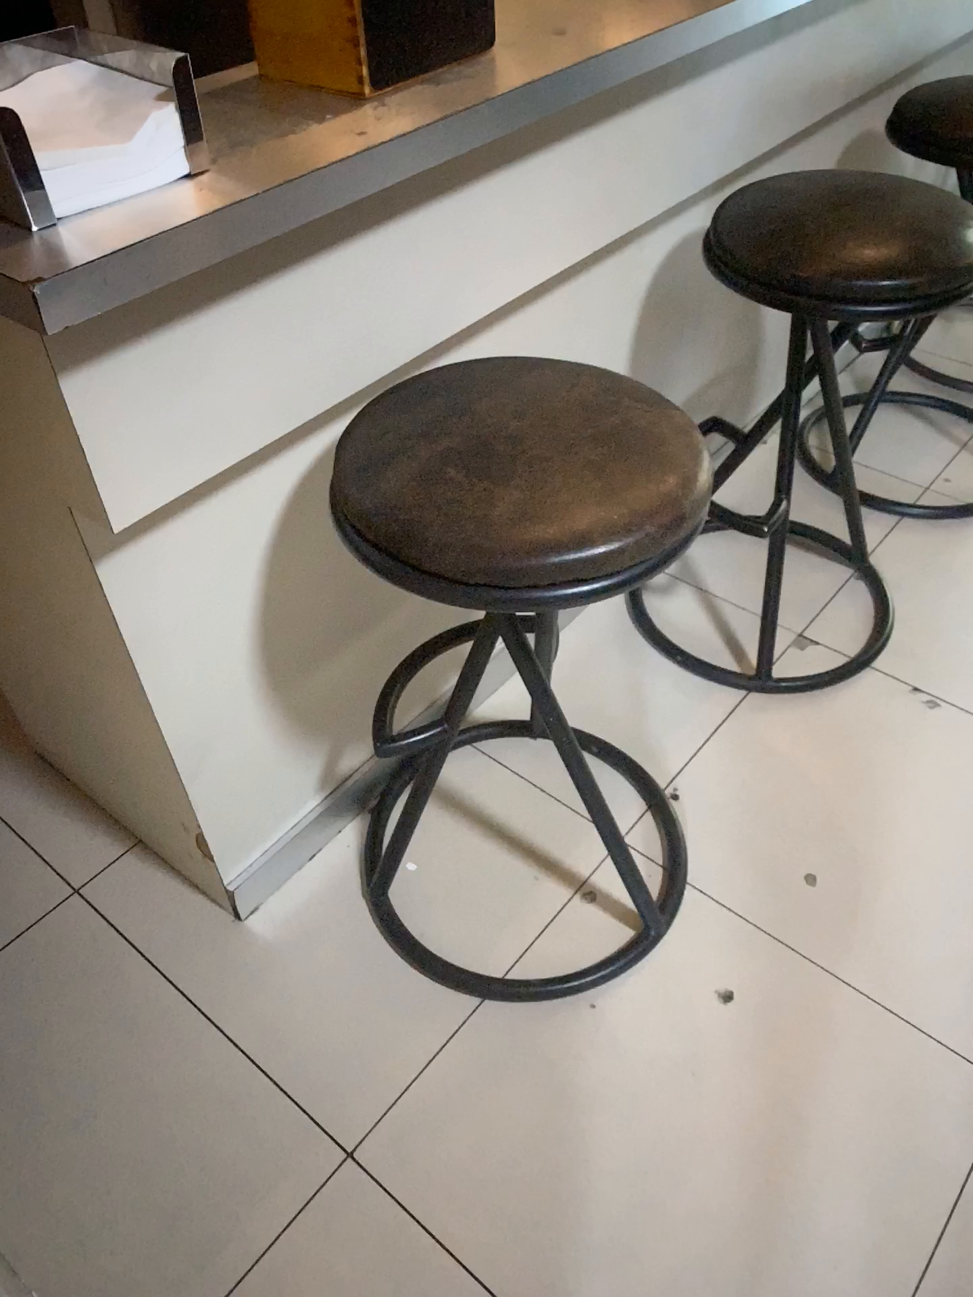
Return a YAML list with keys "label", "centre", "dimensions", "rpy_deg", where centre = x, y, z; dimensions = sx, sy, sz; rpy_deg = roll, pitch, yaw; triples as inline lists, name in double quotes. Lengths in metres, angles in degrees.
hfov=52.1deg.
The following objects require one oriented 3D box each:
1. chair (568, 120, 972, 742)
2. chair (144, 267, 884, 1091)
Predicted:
- label: "chair"
  centre: [0.518, -0.372, 1.663]
  dimensions: [0.527, 0.727, 0.552]
  rpy_deg: [28, 51, 28]
- label: "chair"
  centre: [0.049, 0.026, 1.281]
  dimensions: [0.547, 0.727, 0.552]
  rpy_deg: [28, 51, 28]
